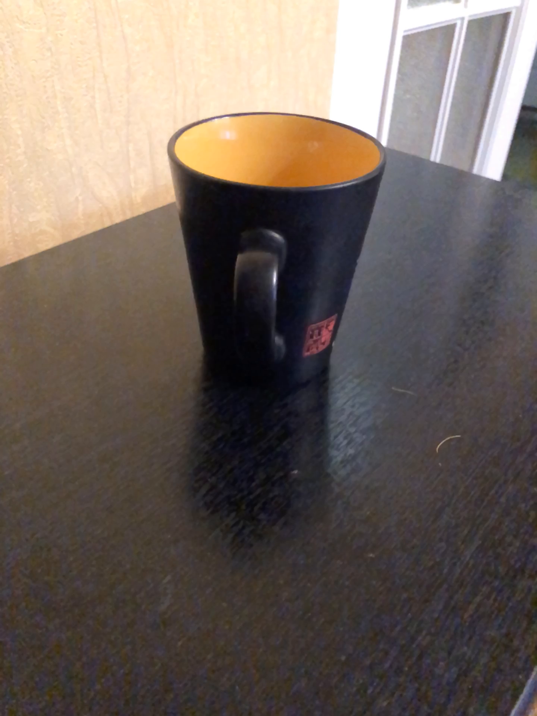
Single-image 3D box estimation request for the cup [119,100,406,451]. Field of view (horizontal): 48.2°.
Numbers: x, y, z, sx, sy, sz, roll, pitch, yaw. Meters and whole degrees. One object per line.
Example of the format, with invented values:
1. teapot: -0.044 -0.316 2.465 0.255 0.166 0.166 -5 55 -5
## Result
1. cup: -0.001 -0.043 0.270 0.090 0.100 0.131 3 38 0
